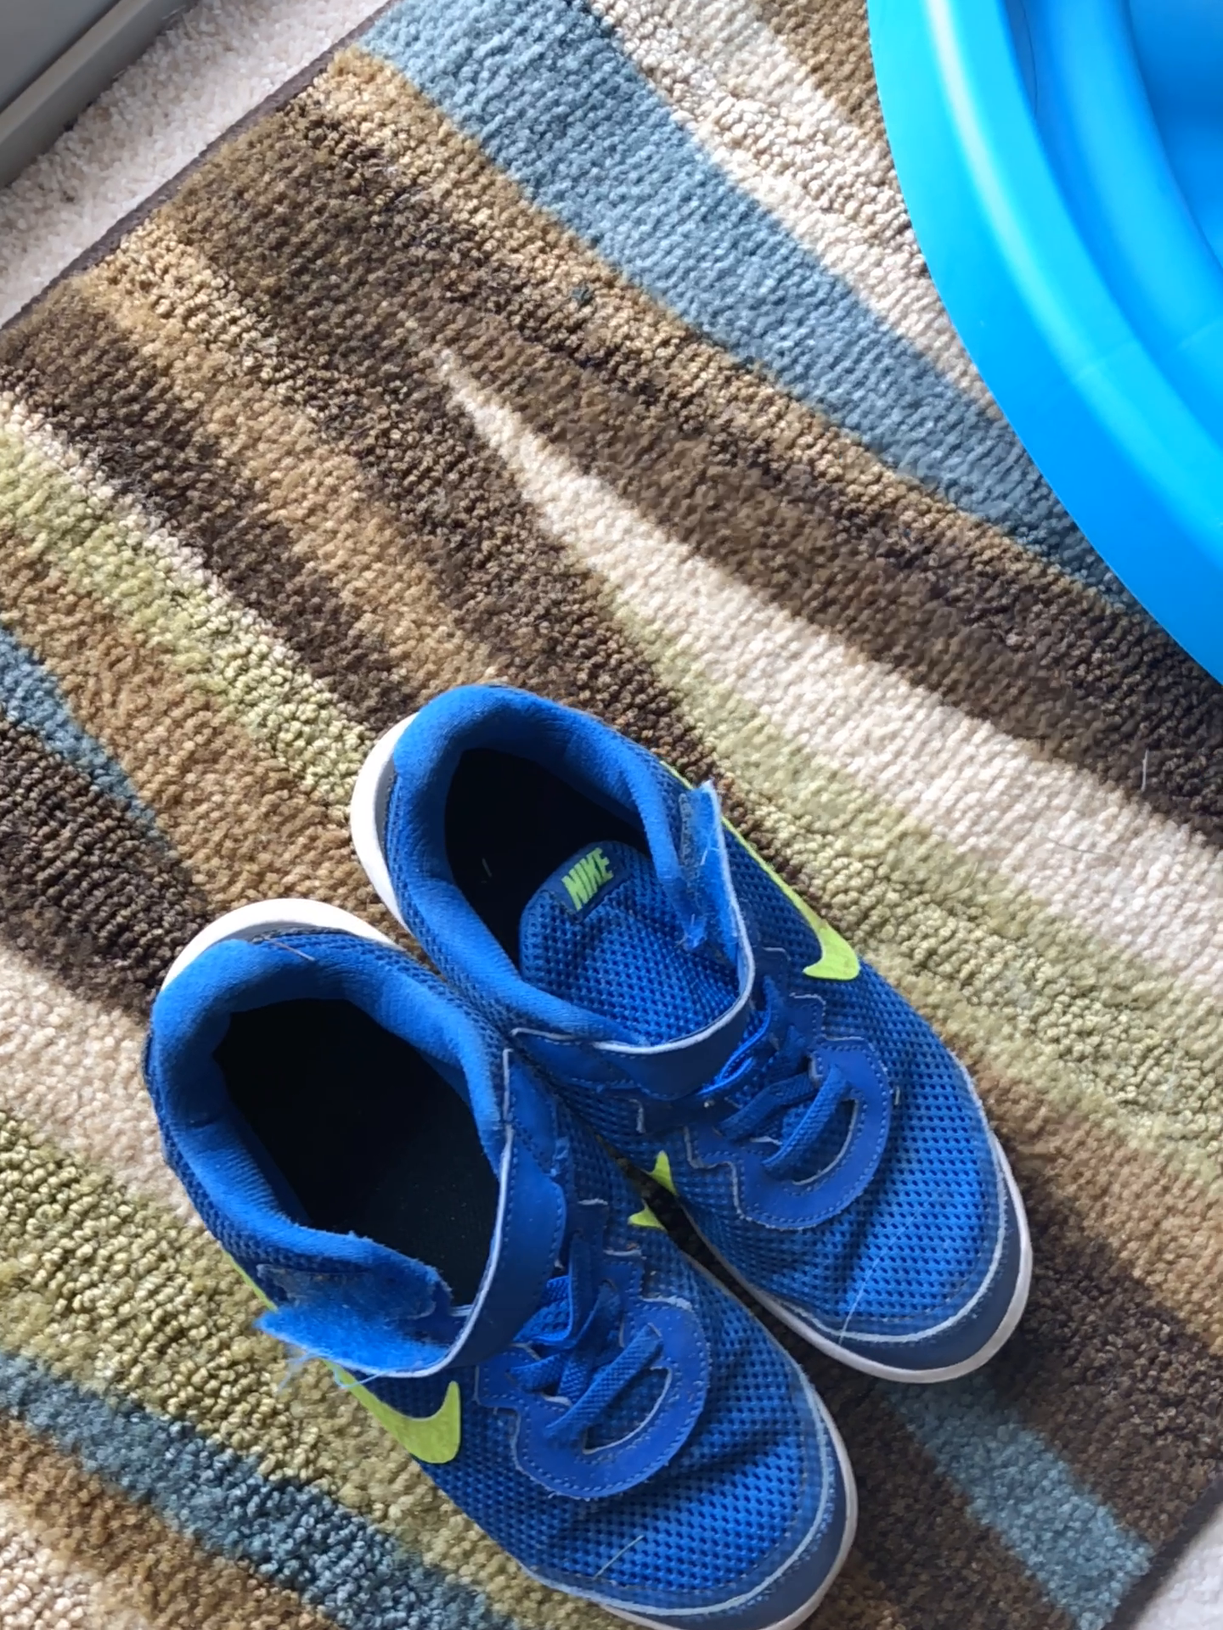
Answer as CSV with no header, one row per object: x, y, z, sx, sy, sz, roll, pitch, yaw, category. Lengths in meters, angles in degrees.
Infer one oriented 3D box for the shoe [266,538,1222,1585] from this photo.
0.037,0.057,0.345,0.230,0.075,0.103,44,77,2,shoe

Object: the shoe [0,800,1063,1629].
-0.022,0.122,0.325,0.102,0.075,0.233,-42,87,-13,shoe
